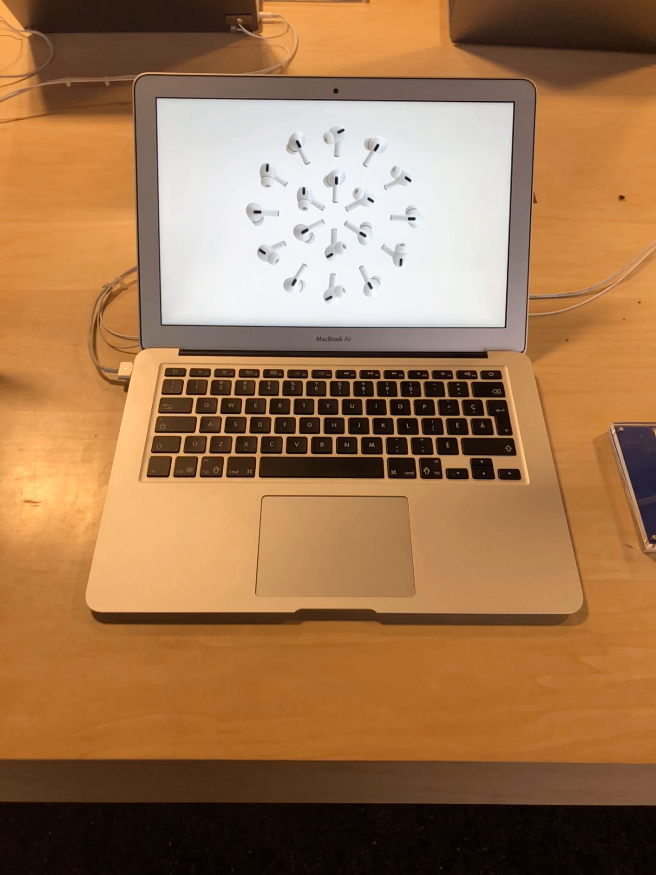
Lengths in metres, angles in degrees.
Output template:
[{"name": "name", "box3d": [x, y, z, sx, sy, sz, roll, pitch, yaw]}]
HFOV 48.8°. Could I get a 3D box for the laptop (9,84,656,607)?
[{"name": "laptop", "box3d": [0.006, -0.085, 0.514, 0.311, 0.151, 0.372, 0, 52, -1]}]
